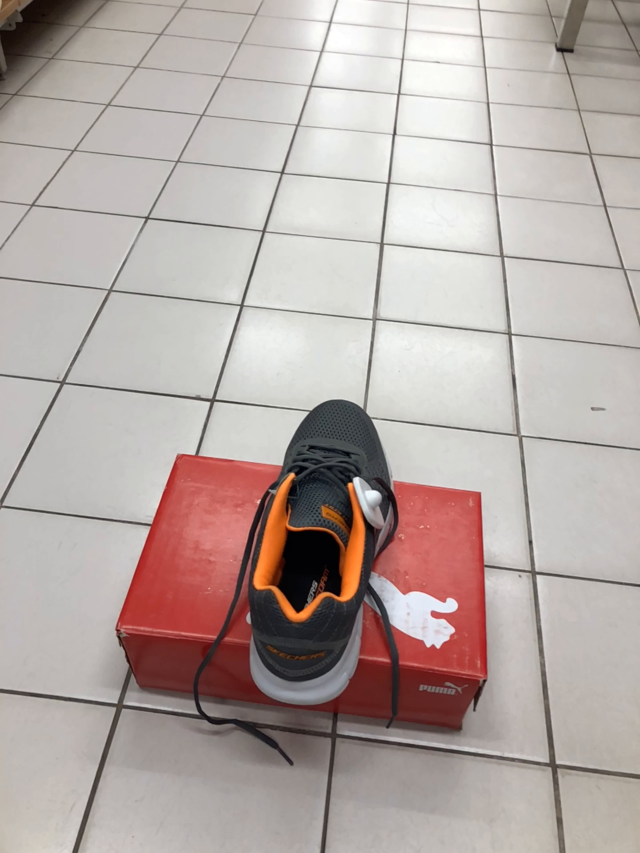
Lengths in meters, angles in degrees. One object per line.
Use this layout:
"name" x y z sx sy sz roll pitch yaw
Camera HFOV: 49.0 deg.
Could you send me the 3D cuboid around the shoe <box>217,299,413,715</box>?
"shoe" 0.007 0.051 0.587 0.110 0.139 0.312 7 48 3
